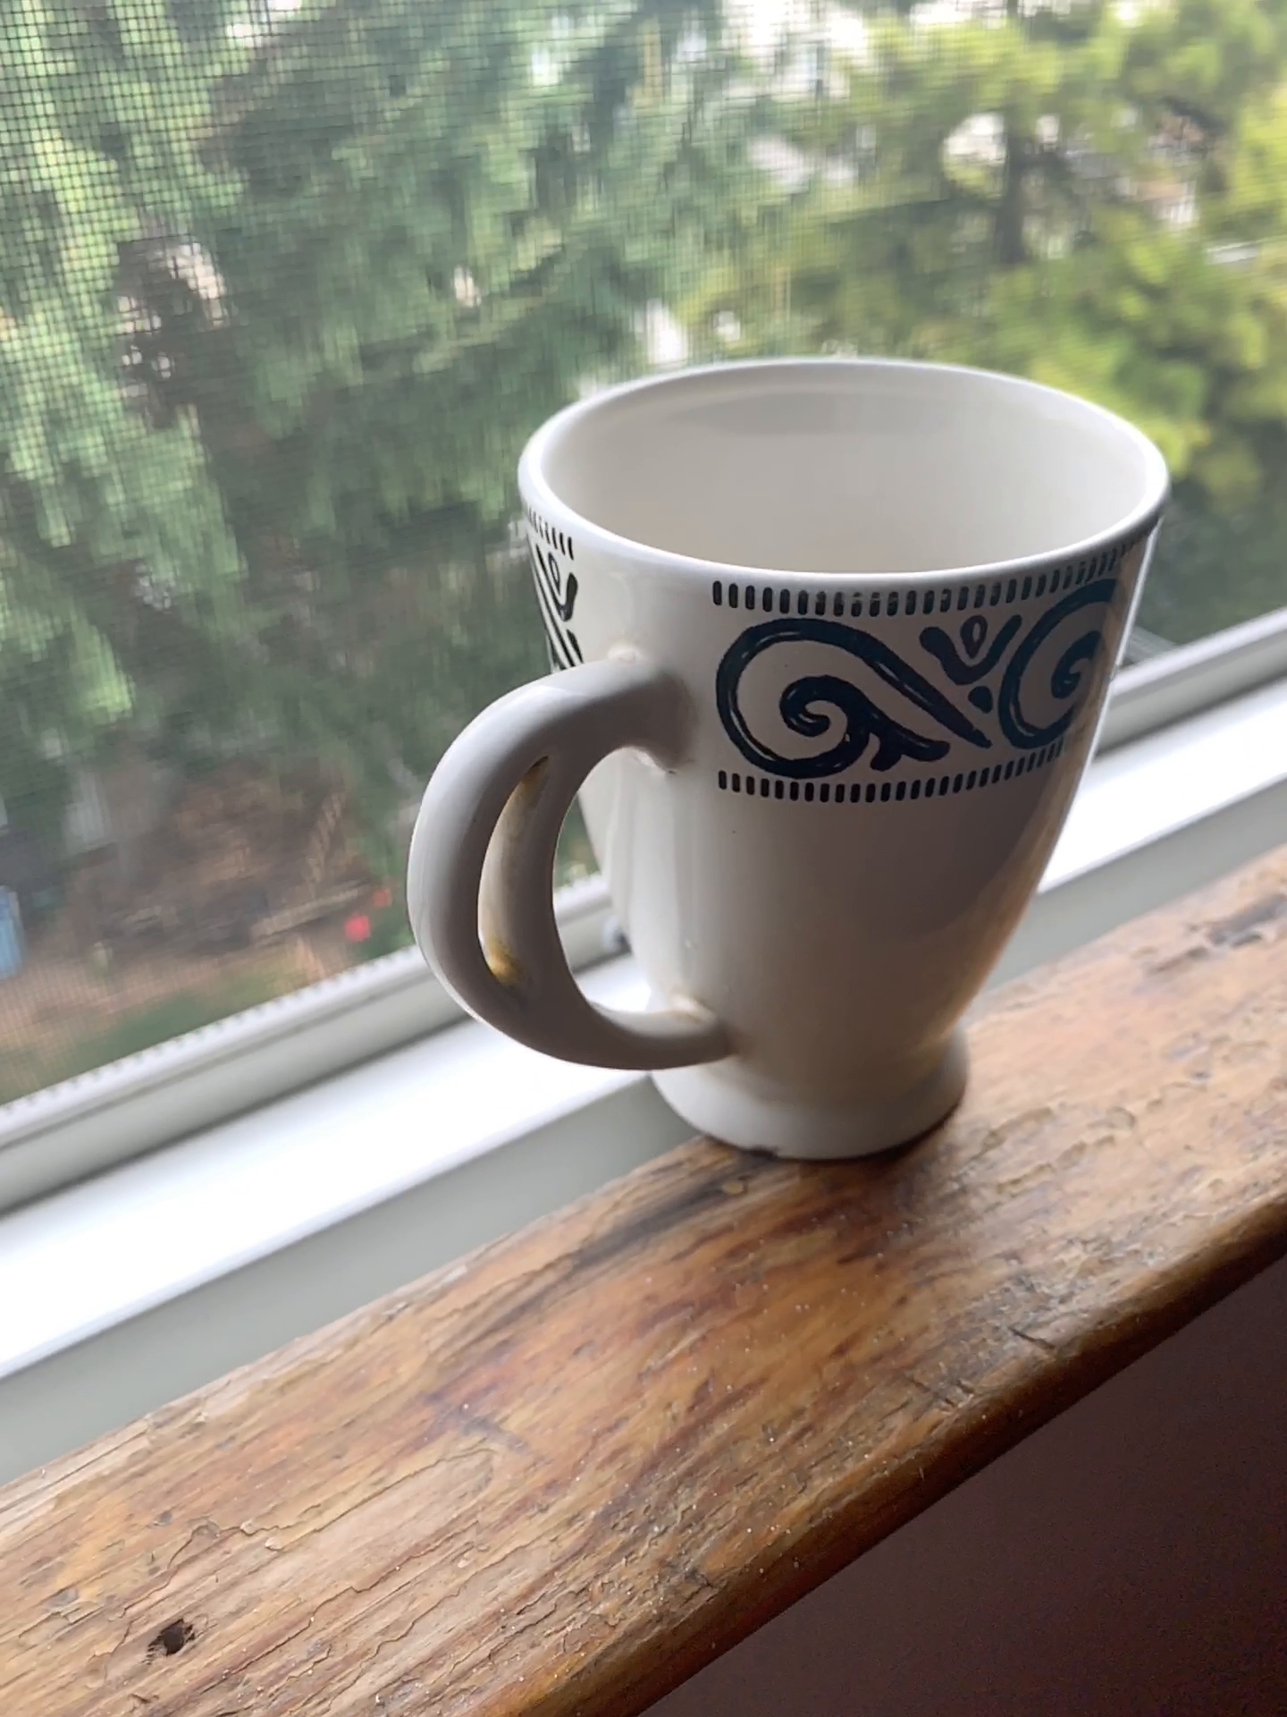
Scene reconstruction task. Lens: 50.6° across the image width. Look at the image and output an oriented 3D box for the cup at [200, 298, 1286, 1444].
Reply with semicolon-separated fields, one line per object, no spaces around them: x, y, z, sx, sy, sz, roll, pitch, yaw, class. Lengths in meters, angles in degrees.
0.025;-0.014;0.190;0.080;0.089;0.131;25;42;33;cup
